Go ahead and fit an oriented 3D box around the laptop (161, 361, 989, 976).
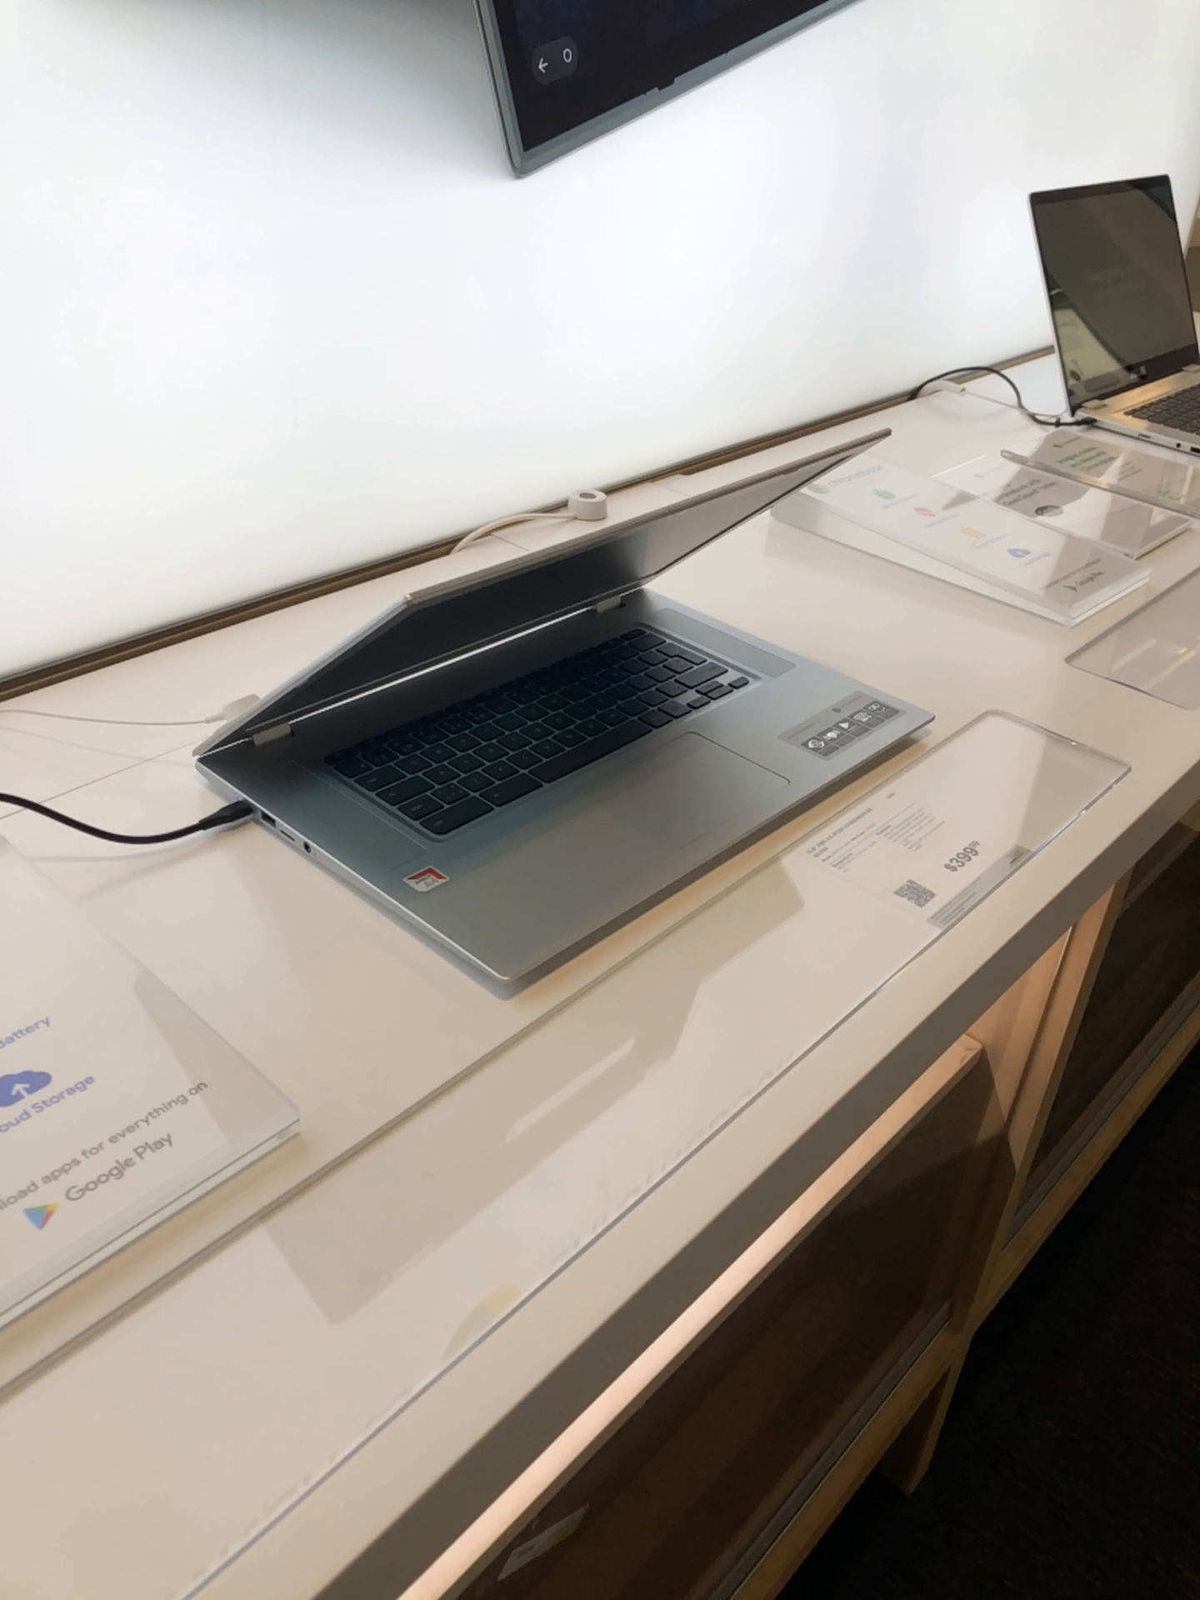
[{"bbox_3d":[-0.005,-0.108,0.740,0.255,0.166,0.369,29,40,34],"label":"laptop"}]
